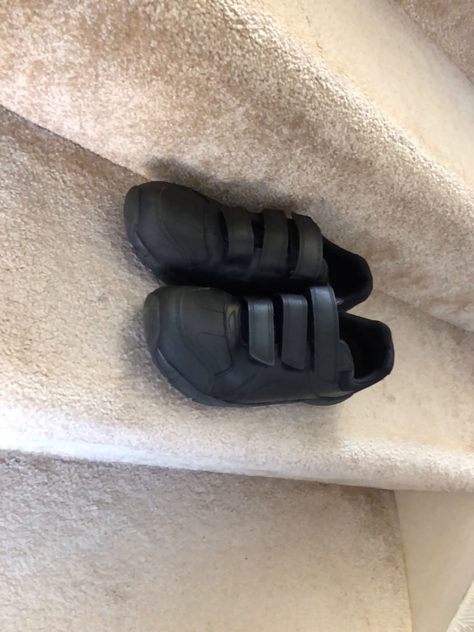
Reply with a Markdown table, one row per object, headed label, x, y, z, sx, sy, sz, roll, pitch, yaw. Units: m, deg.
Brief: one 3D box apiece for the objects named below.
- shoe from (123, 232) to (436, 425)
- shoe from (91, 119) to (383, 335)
| label | x | y | z | sx | sy | sz | roll | pitch | yaw |
| --- | --- | --- | --- | --- | --- | --- | --- | --- | --- |
| shoe | 0.047 | 0.029 | 0.458 | 0.271 | 0.099 | 0.100 | 13 | 61 | -40 |
| shoe | 0.009 | -0.064 | 0.501 | 0.271 | 0.099 | 0.100 | 13 | 61 | -40 |
